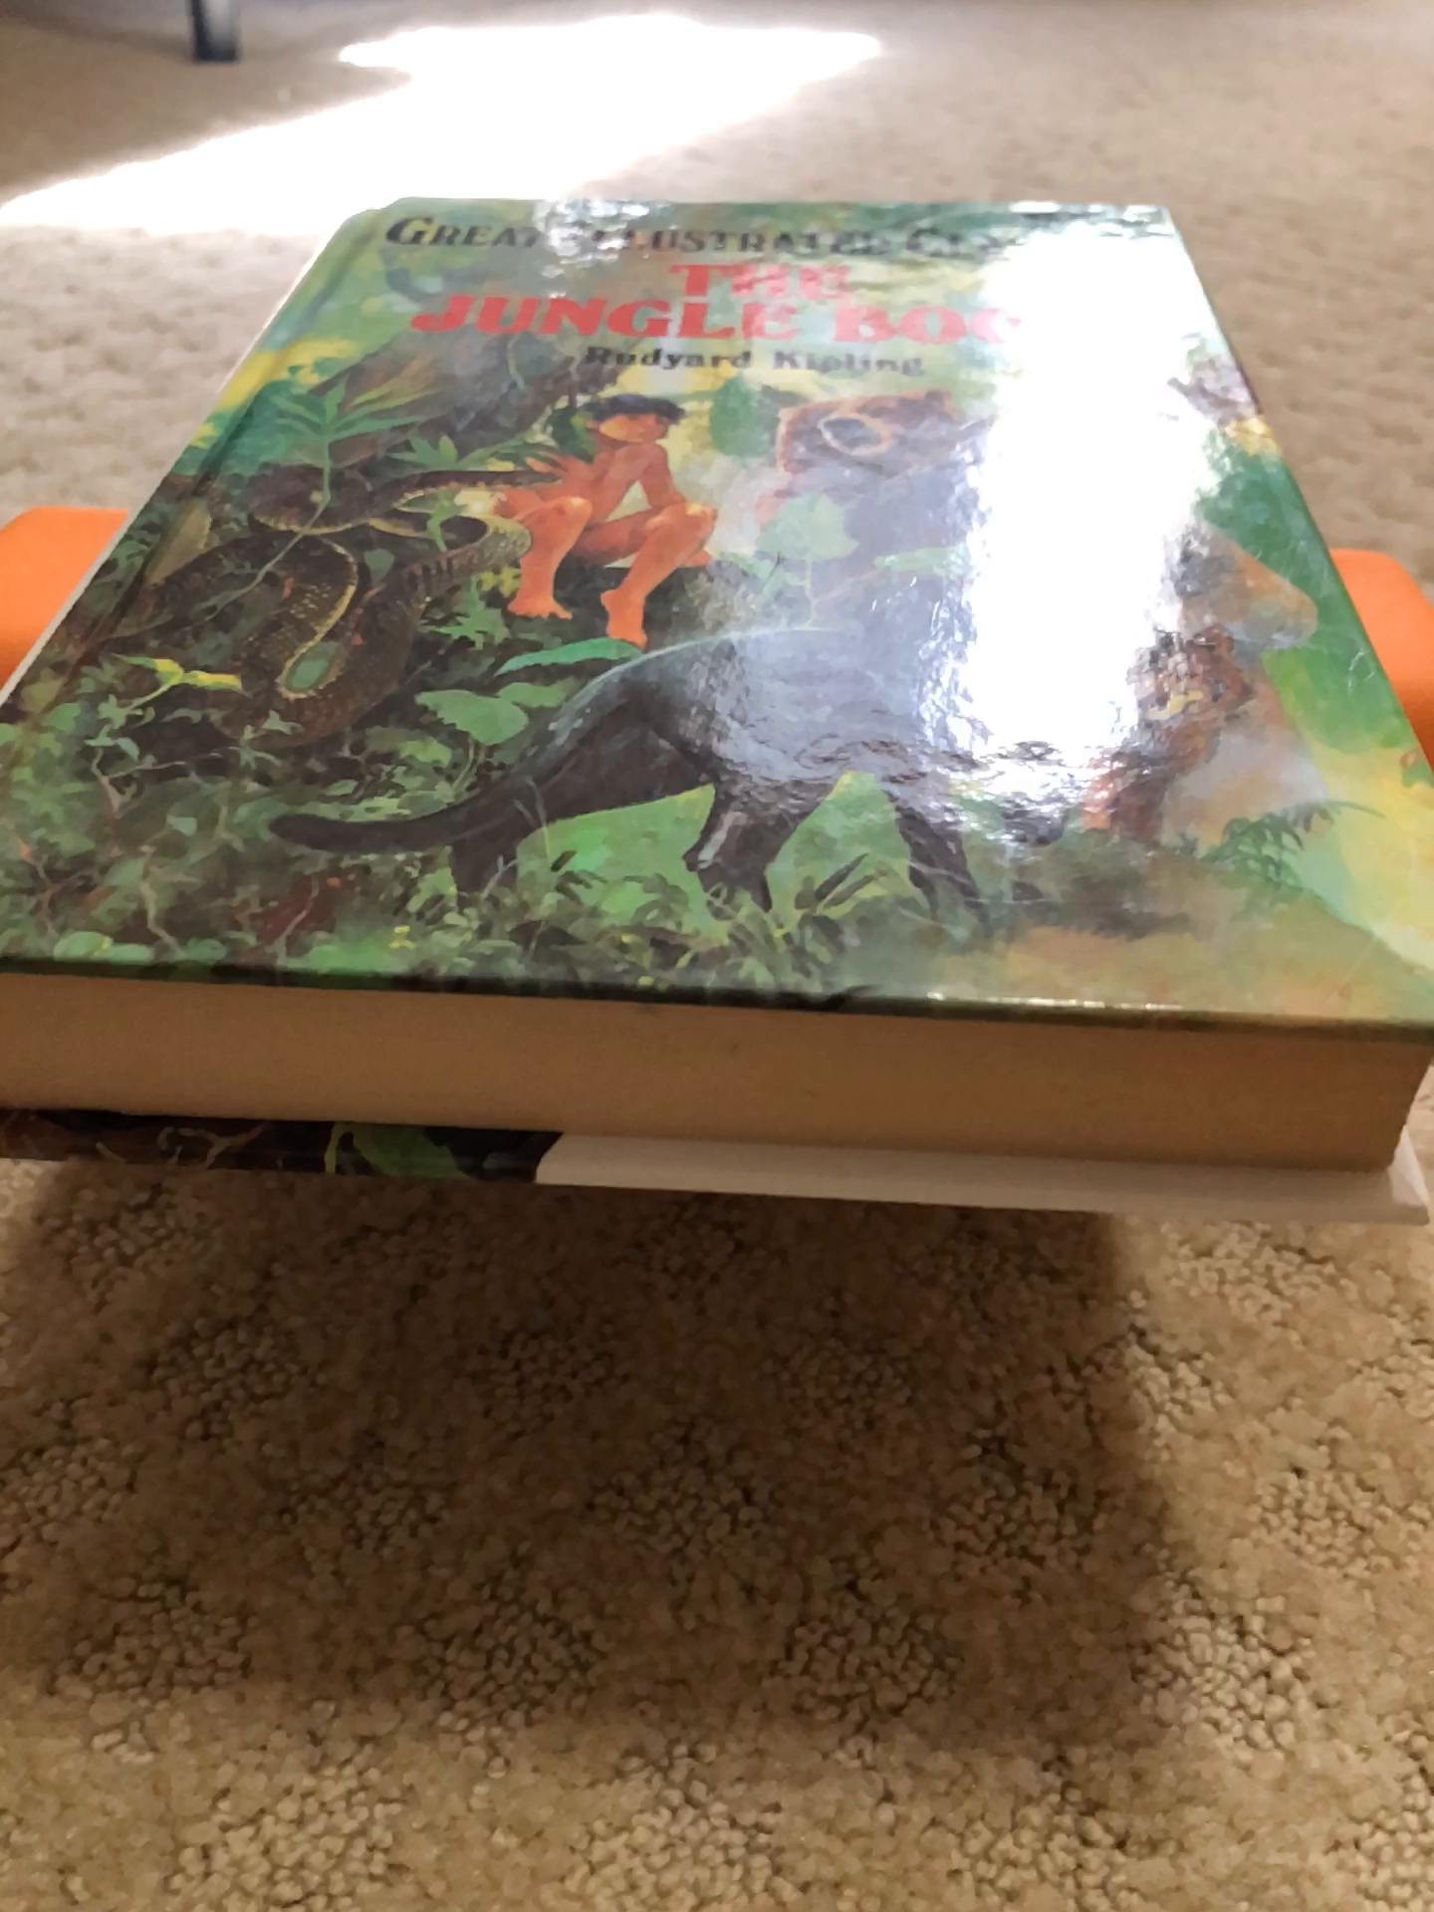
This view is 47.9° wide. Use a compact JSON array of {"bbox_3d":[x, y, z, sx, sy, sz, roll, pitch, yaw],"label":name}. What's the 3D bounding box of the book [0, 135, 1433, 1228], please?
[{"bbox_3d":[0.004,-0.060,0.214,0.140,0.029,0.209,3,42,2],"label":"book"}]
